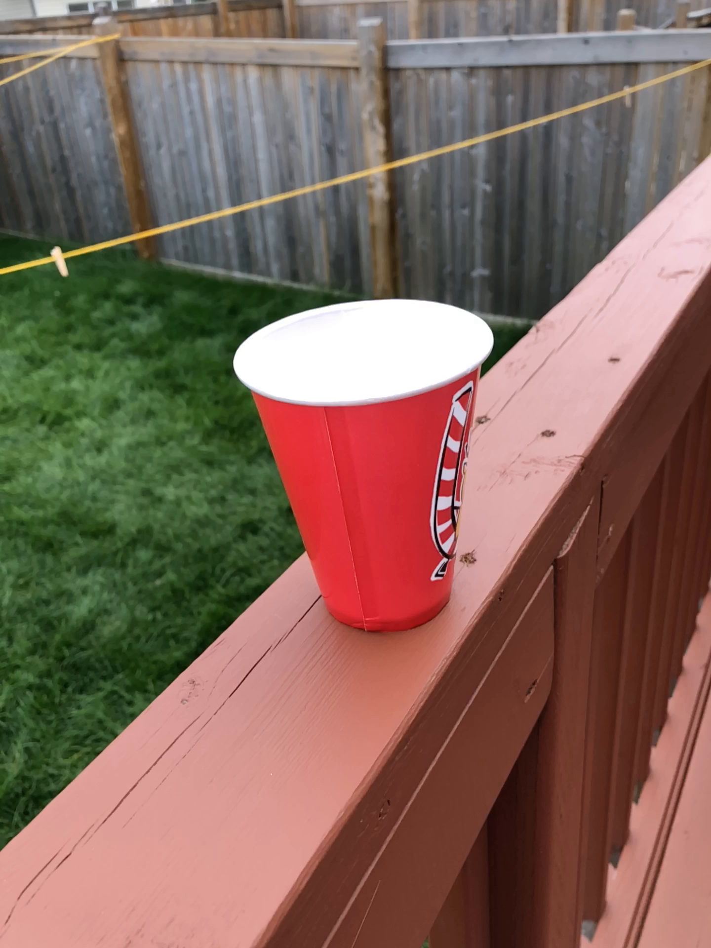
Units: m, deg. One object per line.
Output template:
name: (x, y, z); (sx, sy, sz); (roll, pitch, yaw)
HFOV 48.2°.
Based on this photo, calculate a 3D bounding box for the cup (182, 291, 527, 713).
cup: (0.008, 0.004, 0.251); (0.080, 0.100, 0.080); (-4, 31, 2)
